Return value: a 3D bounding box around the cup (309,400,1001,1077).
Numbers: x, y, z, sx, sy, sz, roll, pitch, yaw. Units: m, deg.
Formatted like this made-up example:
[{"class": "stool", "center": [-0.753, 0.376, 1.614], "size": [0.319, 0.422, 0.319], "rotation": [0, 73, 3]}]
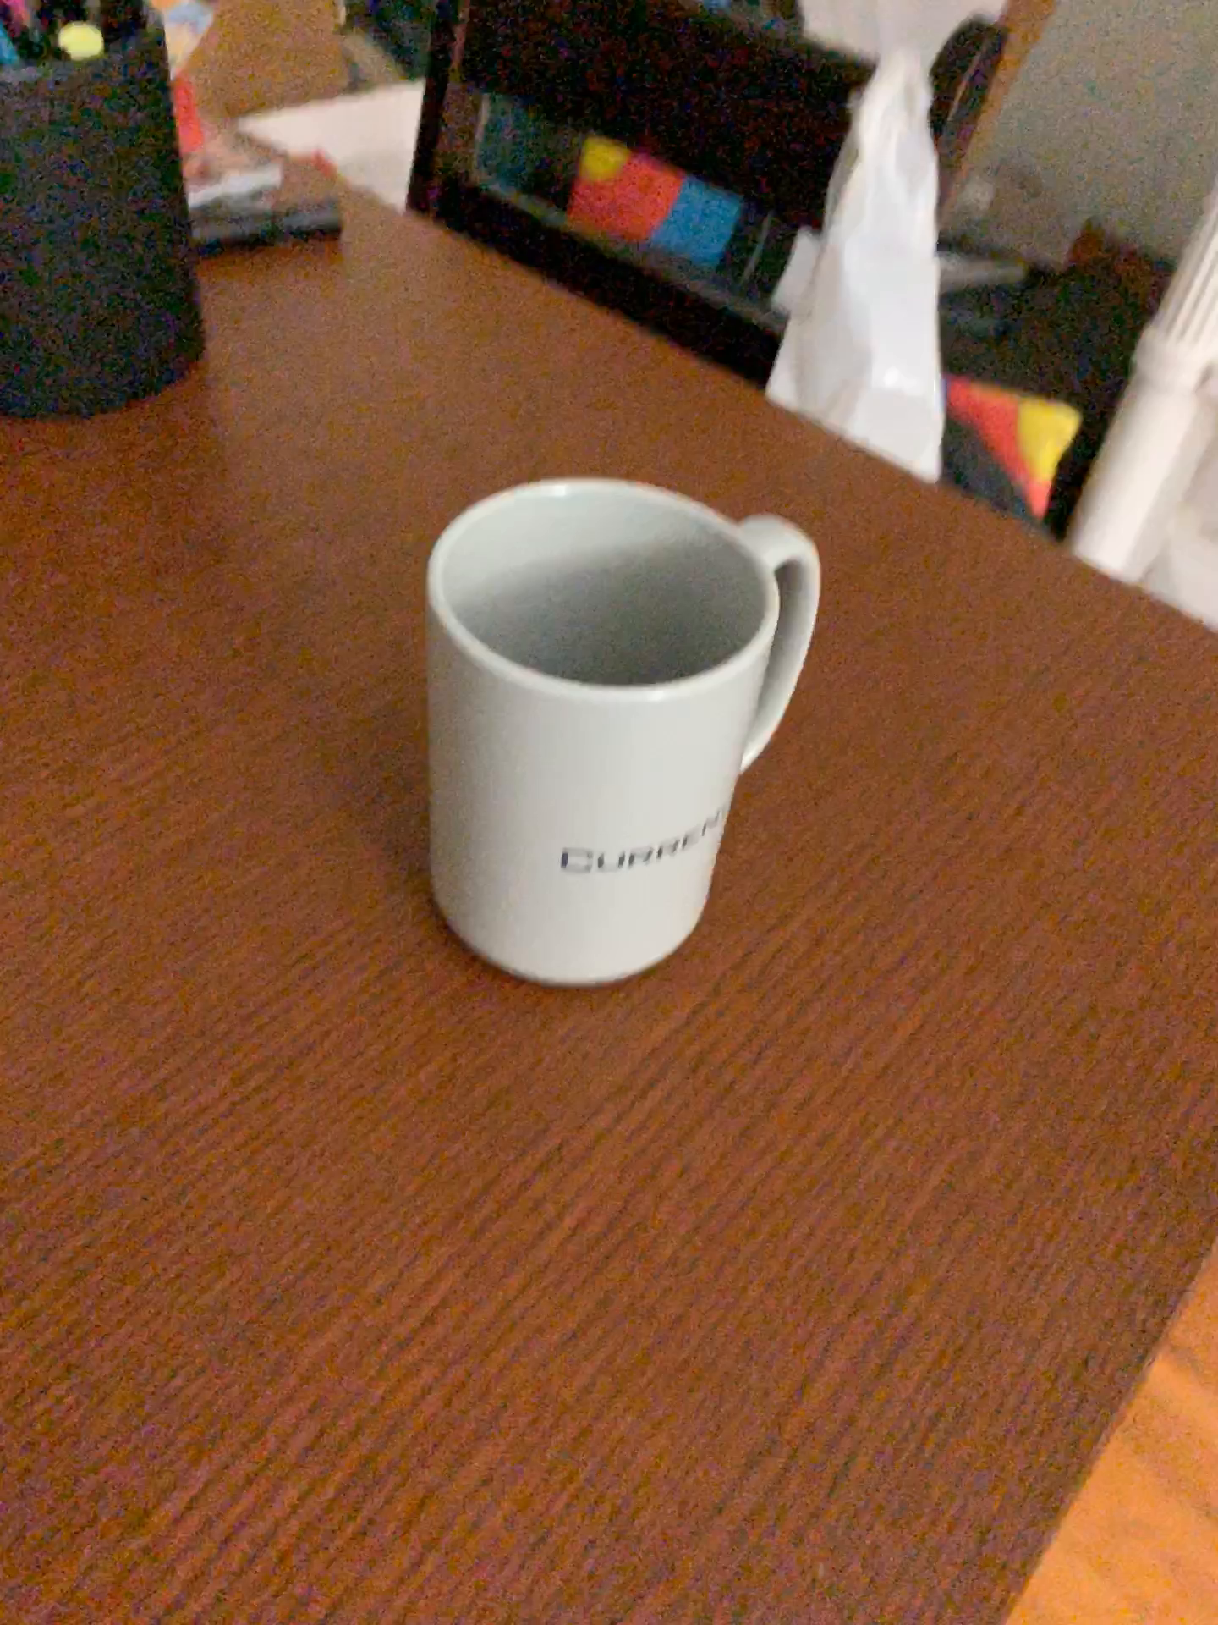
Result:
[{"class": "cup", "center": [0.008, -0.025, 0.351], "size": [0.140, 0.110, 0.100], "rotation": [-25, 55, -27]}]
